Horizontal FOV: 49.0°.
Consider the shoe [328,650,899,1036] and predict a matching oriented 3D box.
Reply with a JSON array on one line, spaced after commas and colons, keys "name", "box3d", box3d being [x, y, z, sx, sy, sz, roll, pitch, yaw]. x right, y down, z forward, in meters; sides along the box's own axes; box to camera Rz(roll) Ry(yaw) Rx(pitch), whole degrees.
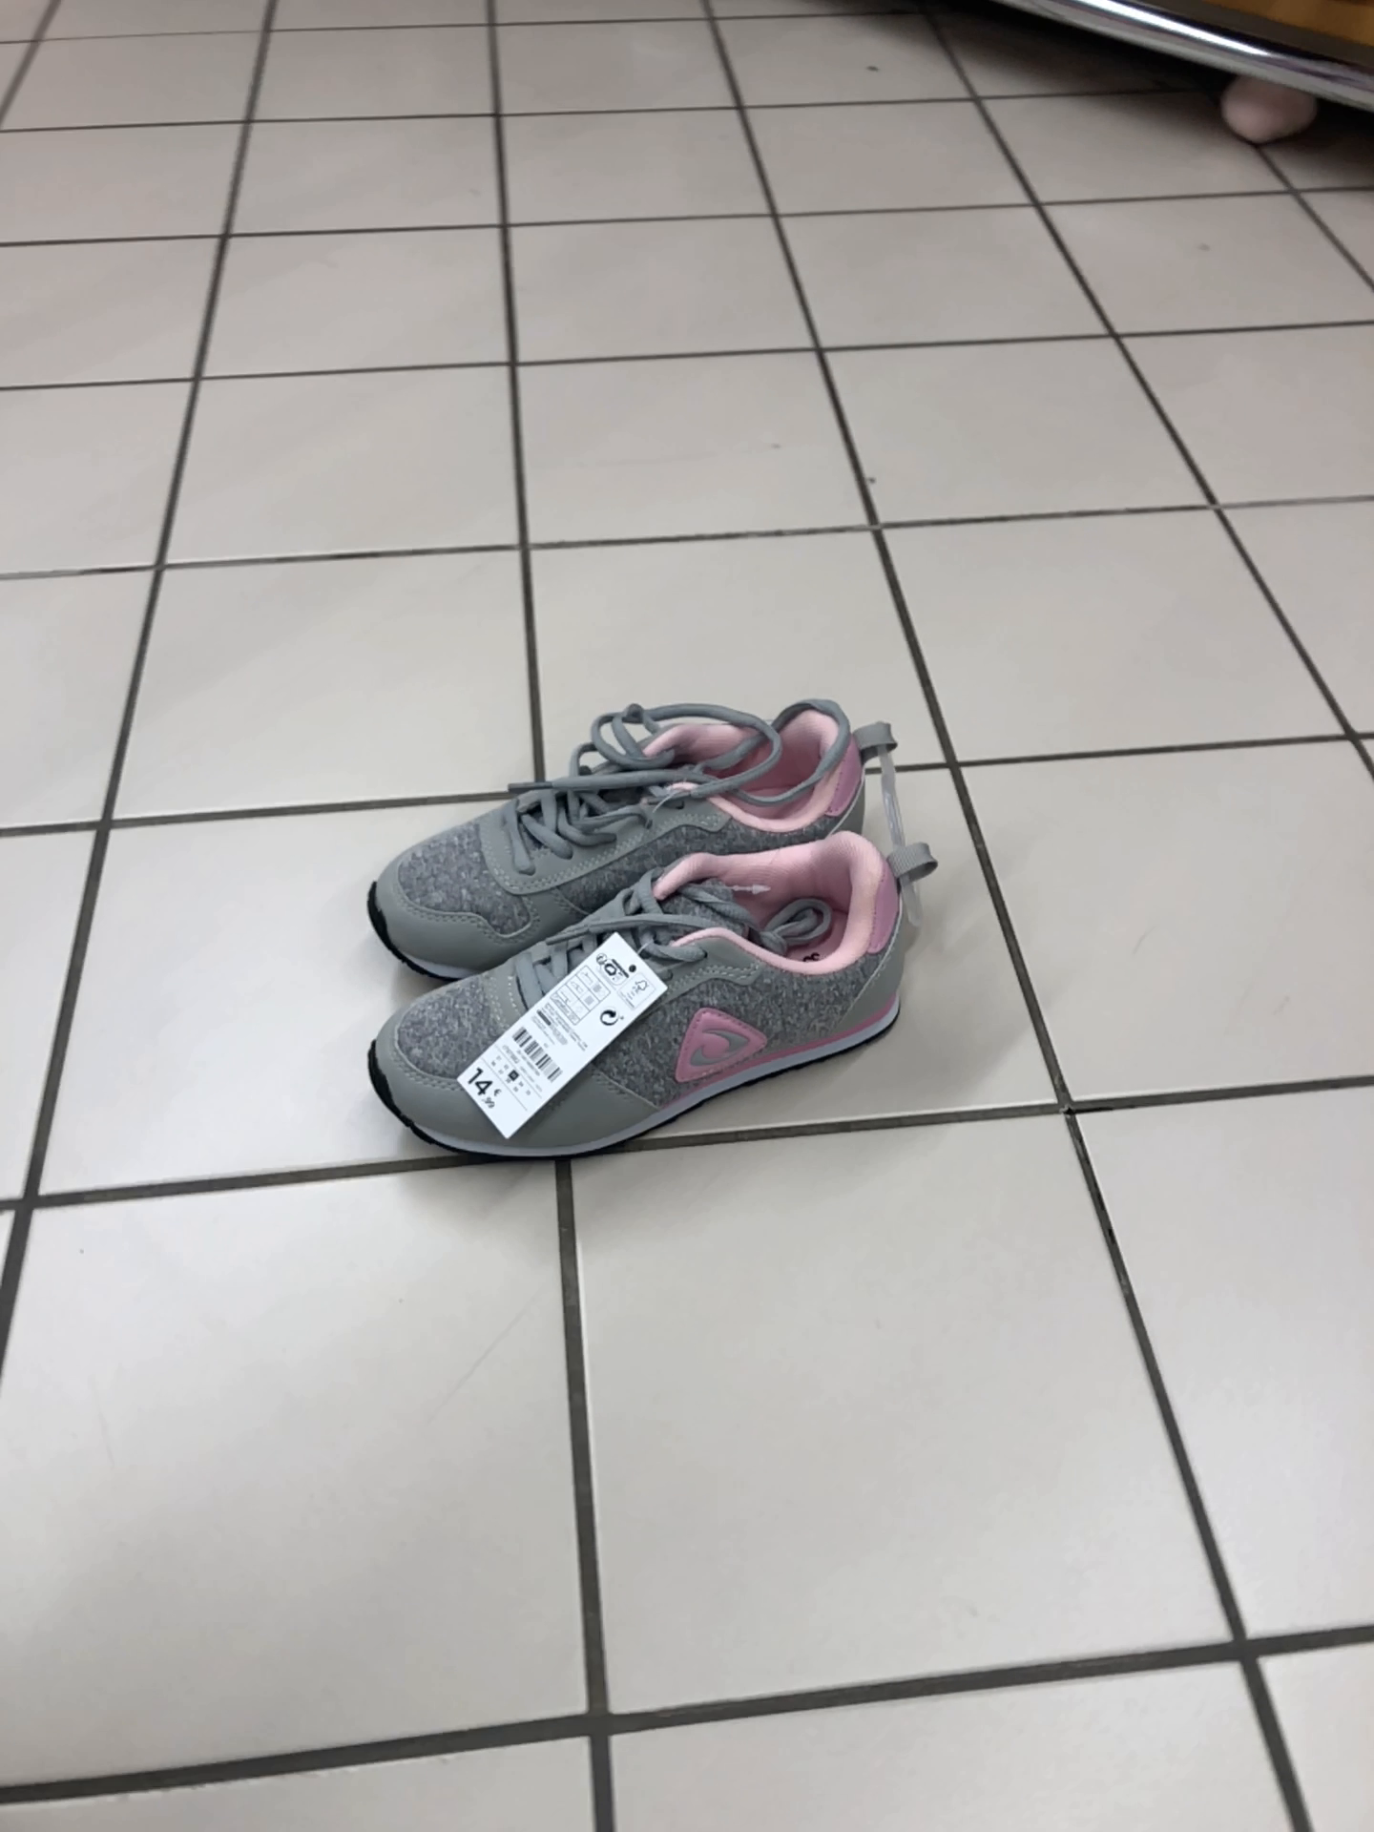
[{"name": "shoe", "box3d": [-0.030, -0.033, 0.635, 0.214, 0.083, 0.082, -14, 50, -13]}]

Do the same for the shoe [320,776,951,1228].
[{"name": "shoe", "box3d": [-0.018, 0.030, 0.579, 0.214, 0.083, 0.082, -16, 50, -15]}]
